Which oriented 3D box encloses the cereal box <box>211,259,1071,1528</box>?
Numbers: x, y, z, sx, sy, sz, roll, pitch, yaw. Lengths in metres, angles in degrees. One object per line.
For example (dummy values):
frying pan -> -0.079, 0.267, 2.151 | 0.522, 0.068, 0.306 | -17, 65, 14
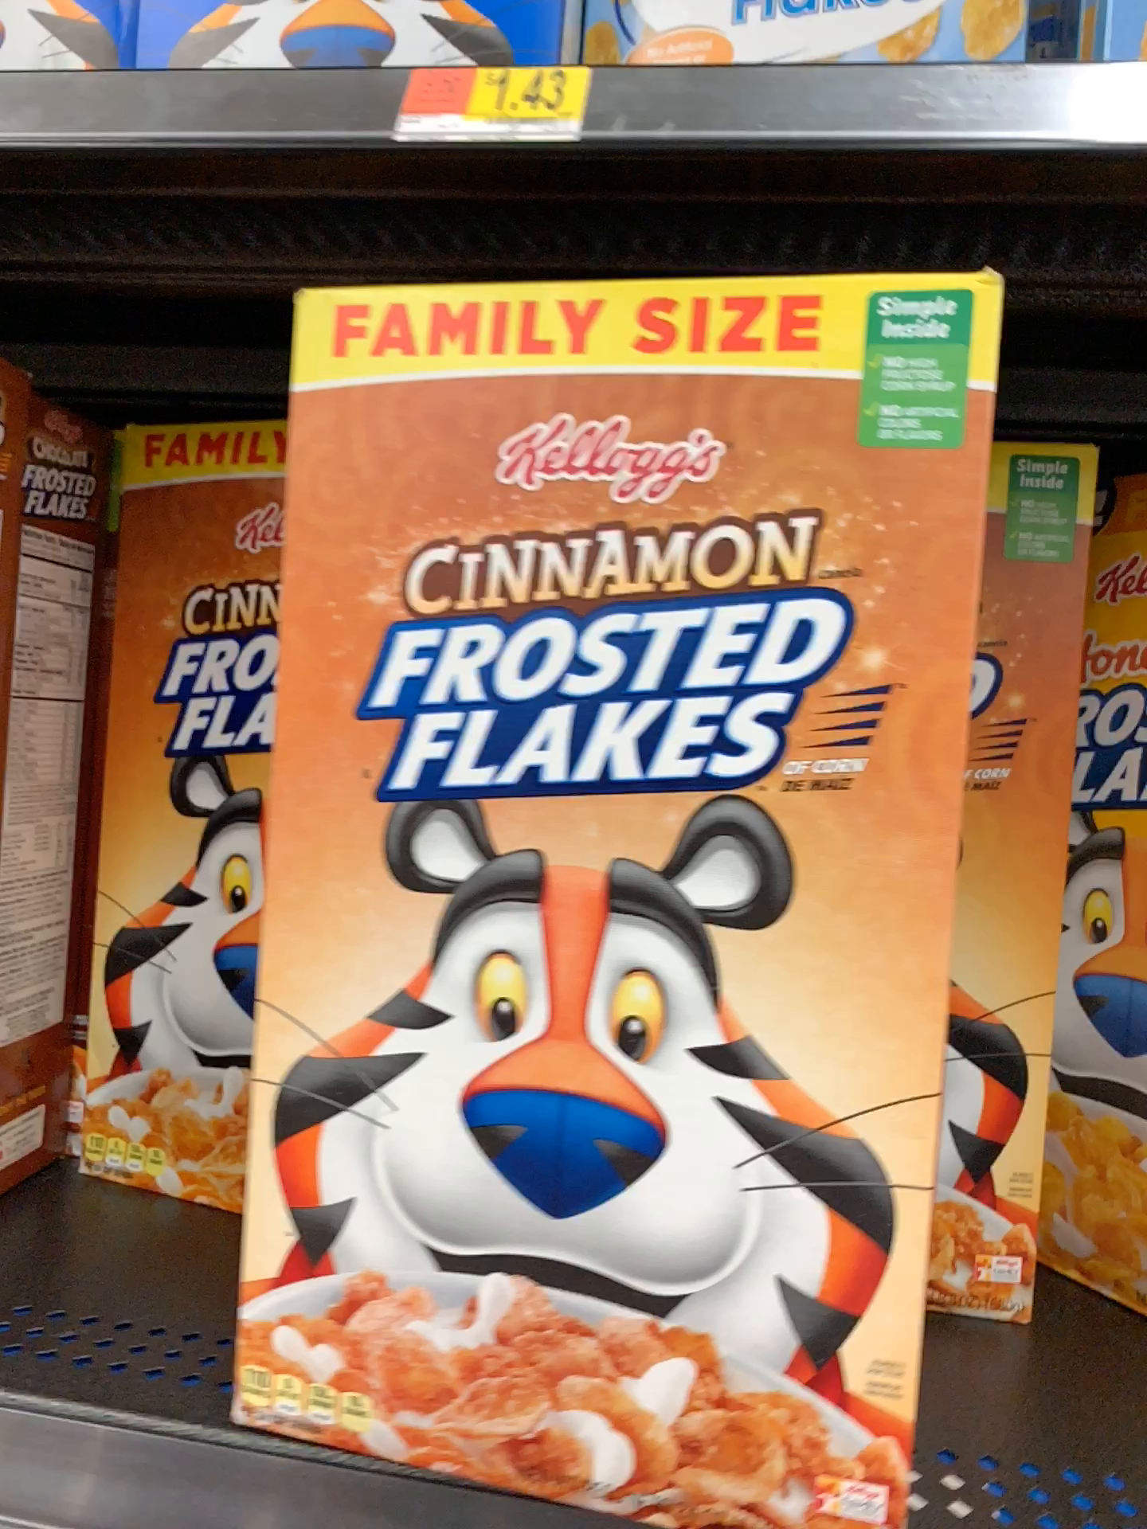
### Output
cereal box -> 0.016, 0.036, 0.356 | 0.210, 0.340, 0.070 | 5, 2, 14
